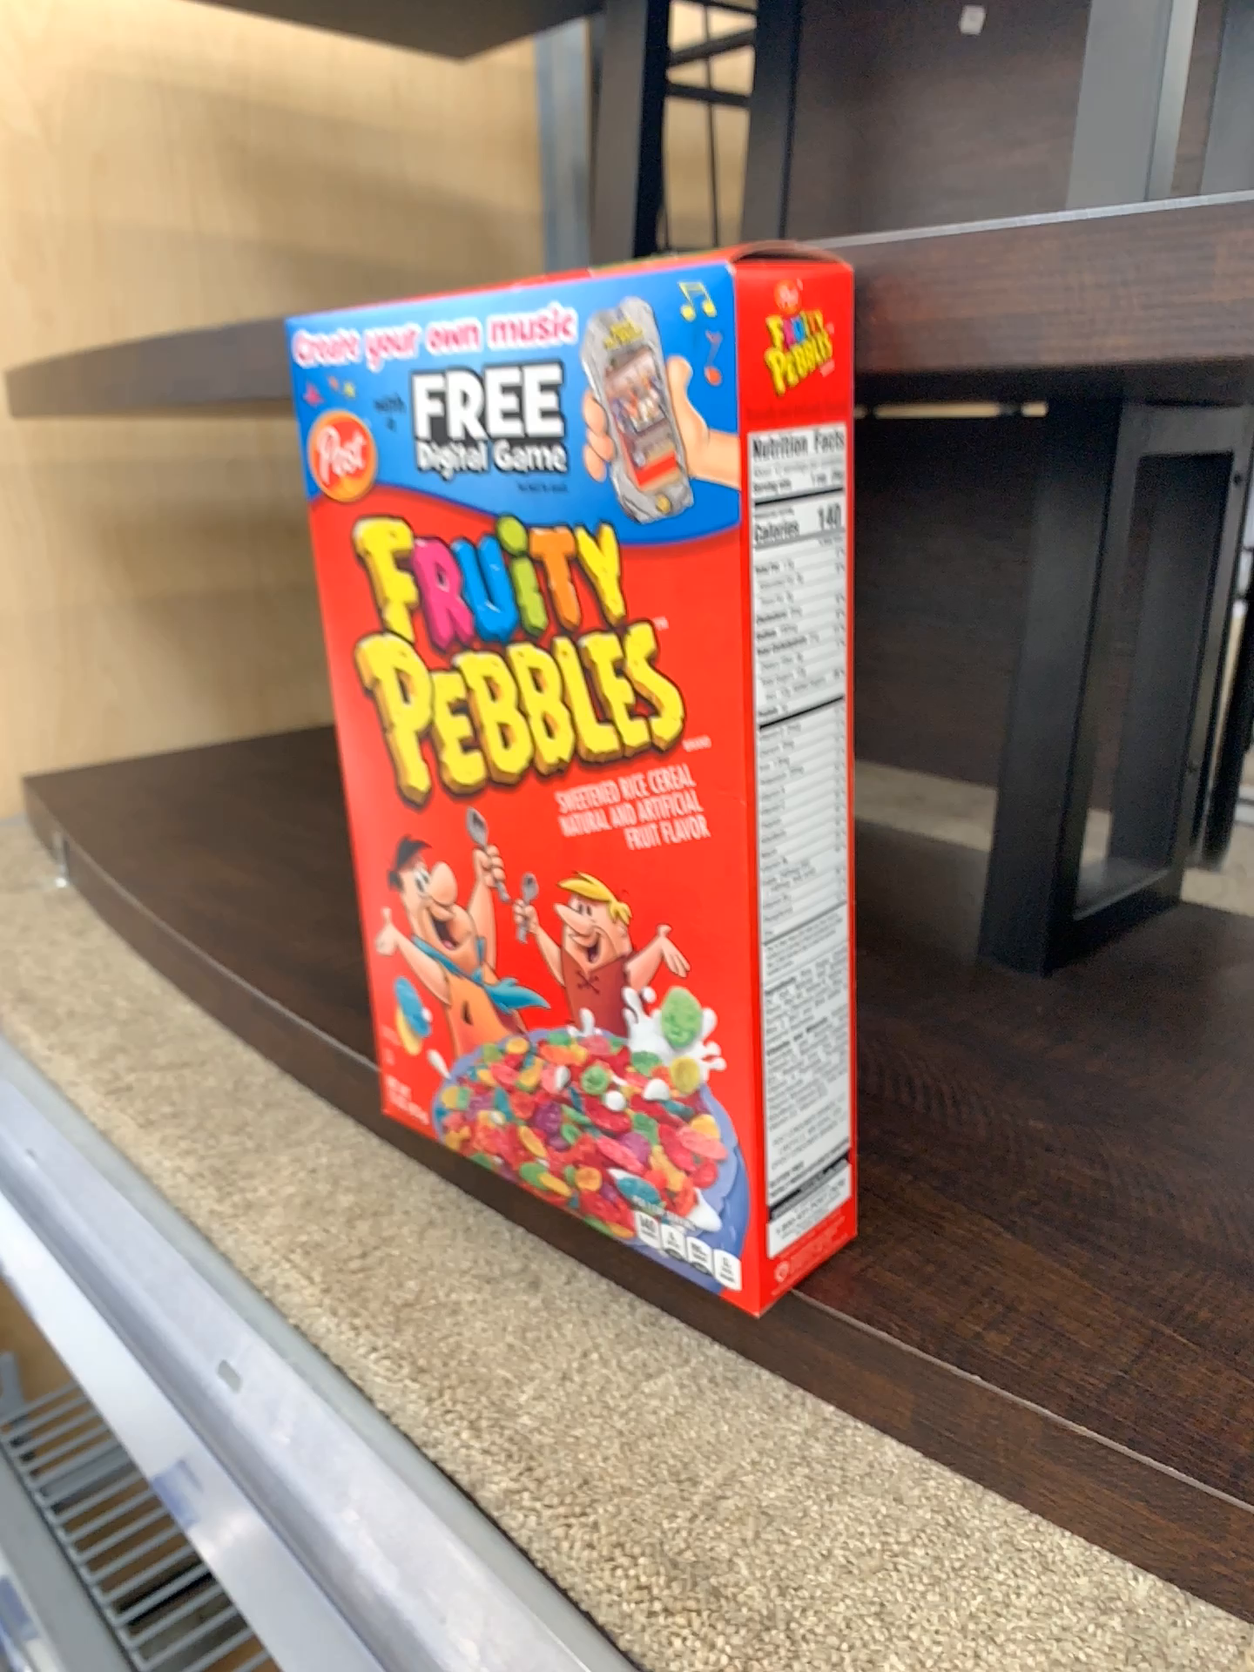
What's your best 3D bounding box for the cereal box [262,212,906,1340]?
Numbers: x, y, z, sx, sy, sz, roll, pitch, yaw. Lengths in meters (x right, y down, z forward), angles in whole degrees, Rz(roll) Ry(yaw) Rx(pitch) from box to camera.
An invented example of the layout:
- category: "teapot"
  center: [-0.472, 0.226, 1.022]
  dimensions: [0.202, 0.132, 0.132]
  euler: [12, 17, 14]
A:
- category: "cereal box"
  center: [-0.019, -0.024, 0.434]
  dimensions: [0.211, 0.309, 0.060]
  euler: [15, 25, 41]
